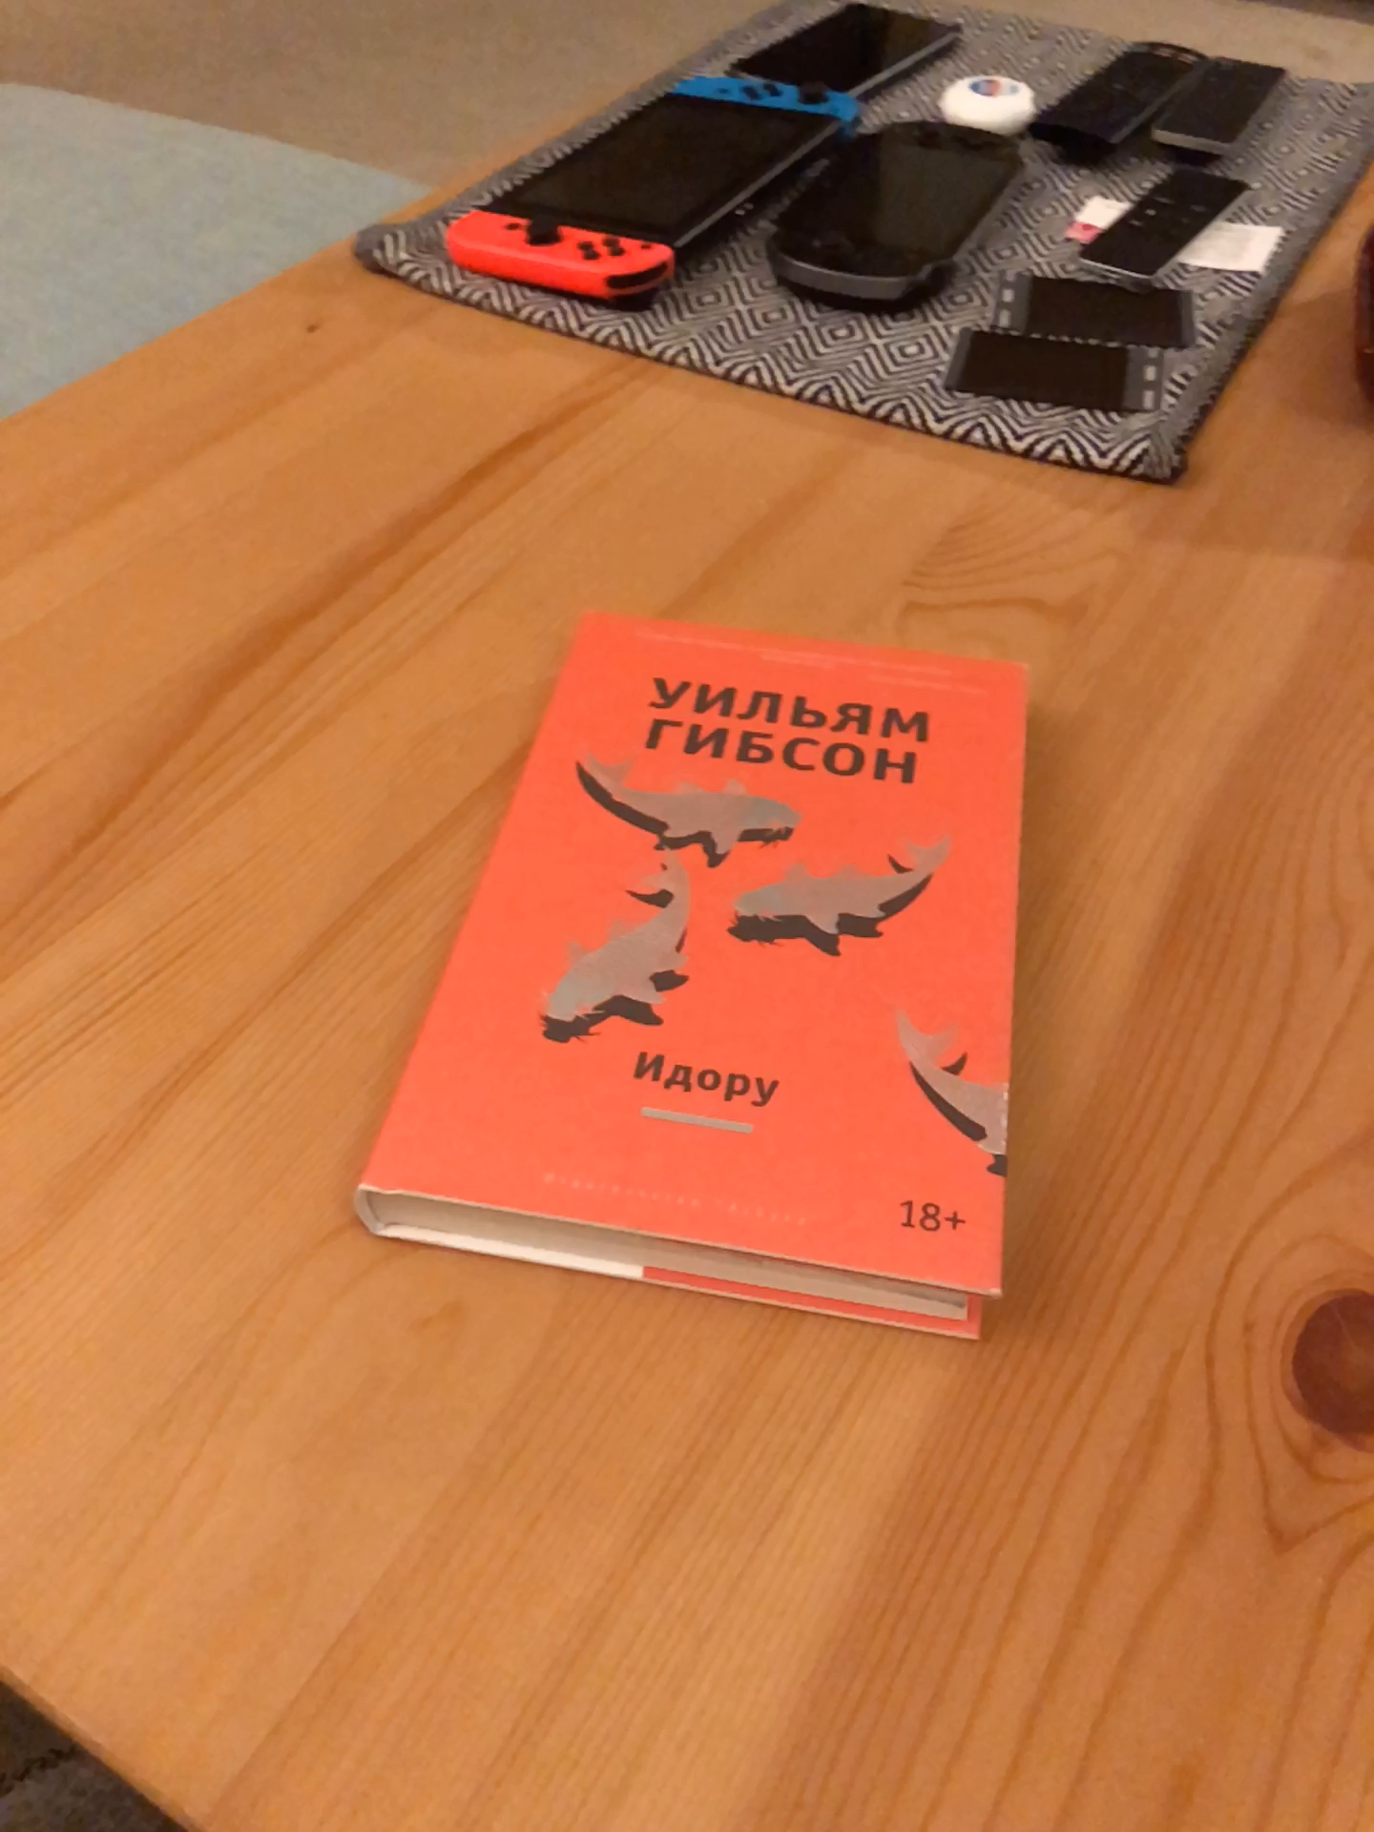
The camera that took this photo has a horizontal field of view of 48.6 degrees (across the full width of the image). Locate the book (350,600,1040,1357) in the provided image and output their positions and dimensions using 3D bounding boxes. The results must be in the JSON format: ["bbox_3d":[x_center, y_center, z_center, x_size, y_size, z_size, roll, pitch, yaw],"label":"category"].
[{"bbox_3d":[0.016,-0.002,0.376,0.134,0.020,0.208,8,47,6],"label":"book"}]
